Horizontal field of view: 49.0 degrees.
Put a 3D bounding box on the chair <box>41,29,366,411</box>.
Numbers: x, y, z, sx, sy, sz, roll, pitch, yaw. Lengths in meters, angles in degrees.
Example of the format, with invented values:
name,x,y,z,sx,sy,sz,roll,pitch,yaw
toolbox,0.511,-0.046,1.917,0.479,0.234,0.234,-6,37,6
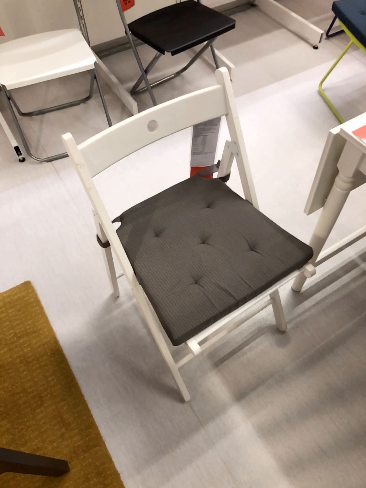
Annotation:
name,x,y,z,sx,sy,sz,roll,pitch,yaw
chair,0.059,-0.006,0.966,0.441,0.696,0.452,-29,60,-18
